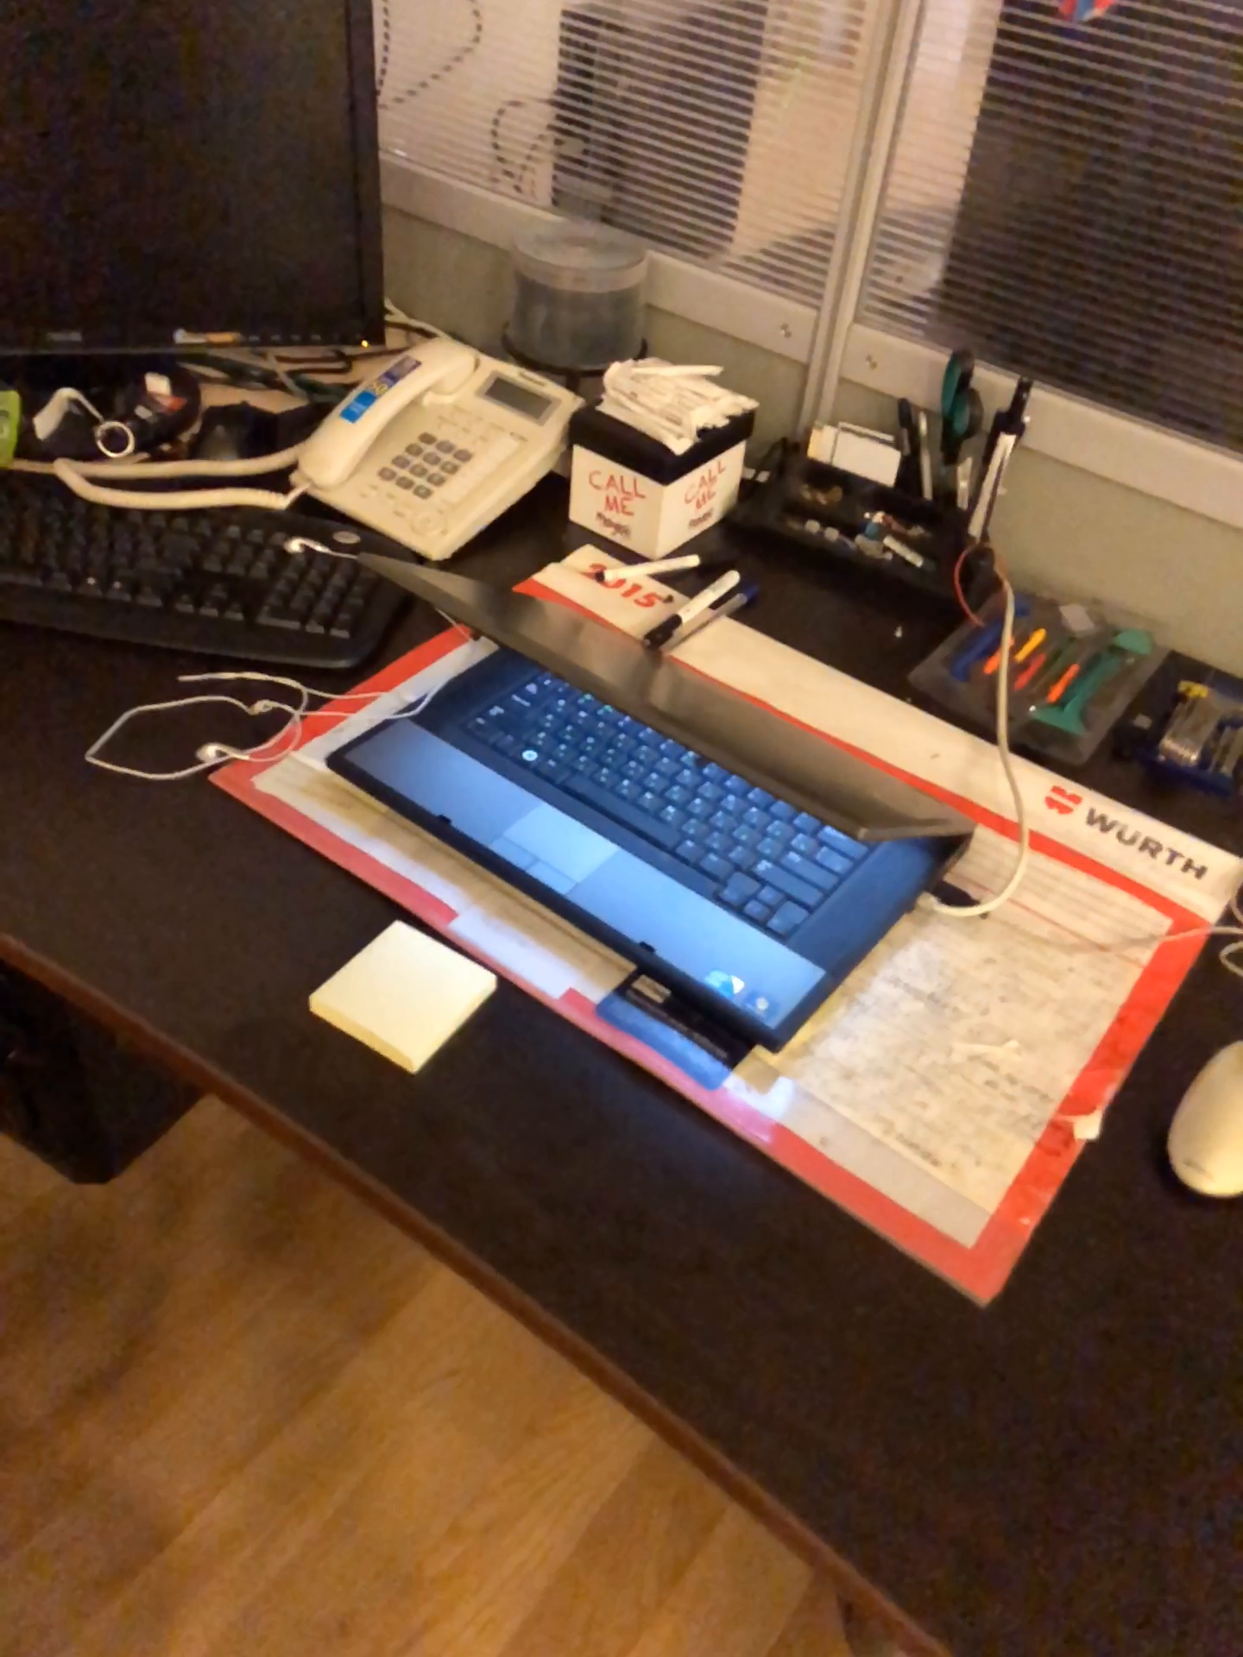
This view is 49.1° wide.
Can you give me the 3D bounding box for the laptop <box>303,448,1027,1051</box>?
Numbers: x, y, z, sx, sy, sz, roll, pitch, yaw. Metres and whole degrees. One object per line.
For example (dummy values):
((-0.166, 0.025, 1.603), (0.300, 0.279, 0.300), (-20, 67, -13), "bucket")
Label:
((0.021, -0.071, 0.851), (0.358, 0.141, 0.240), (31, 47, 23), "laptop")
